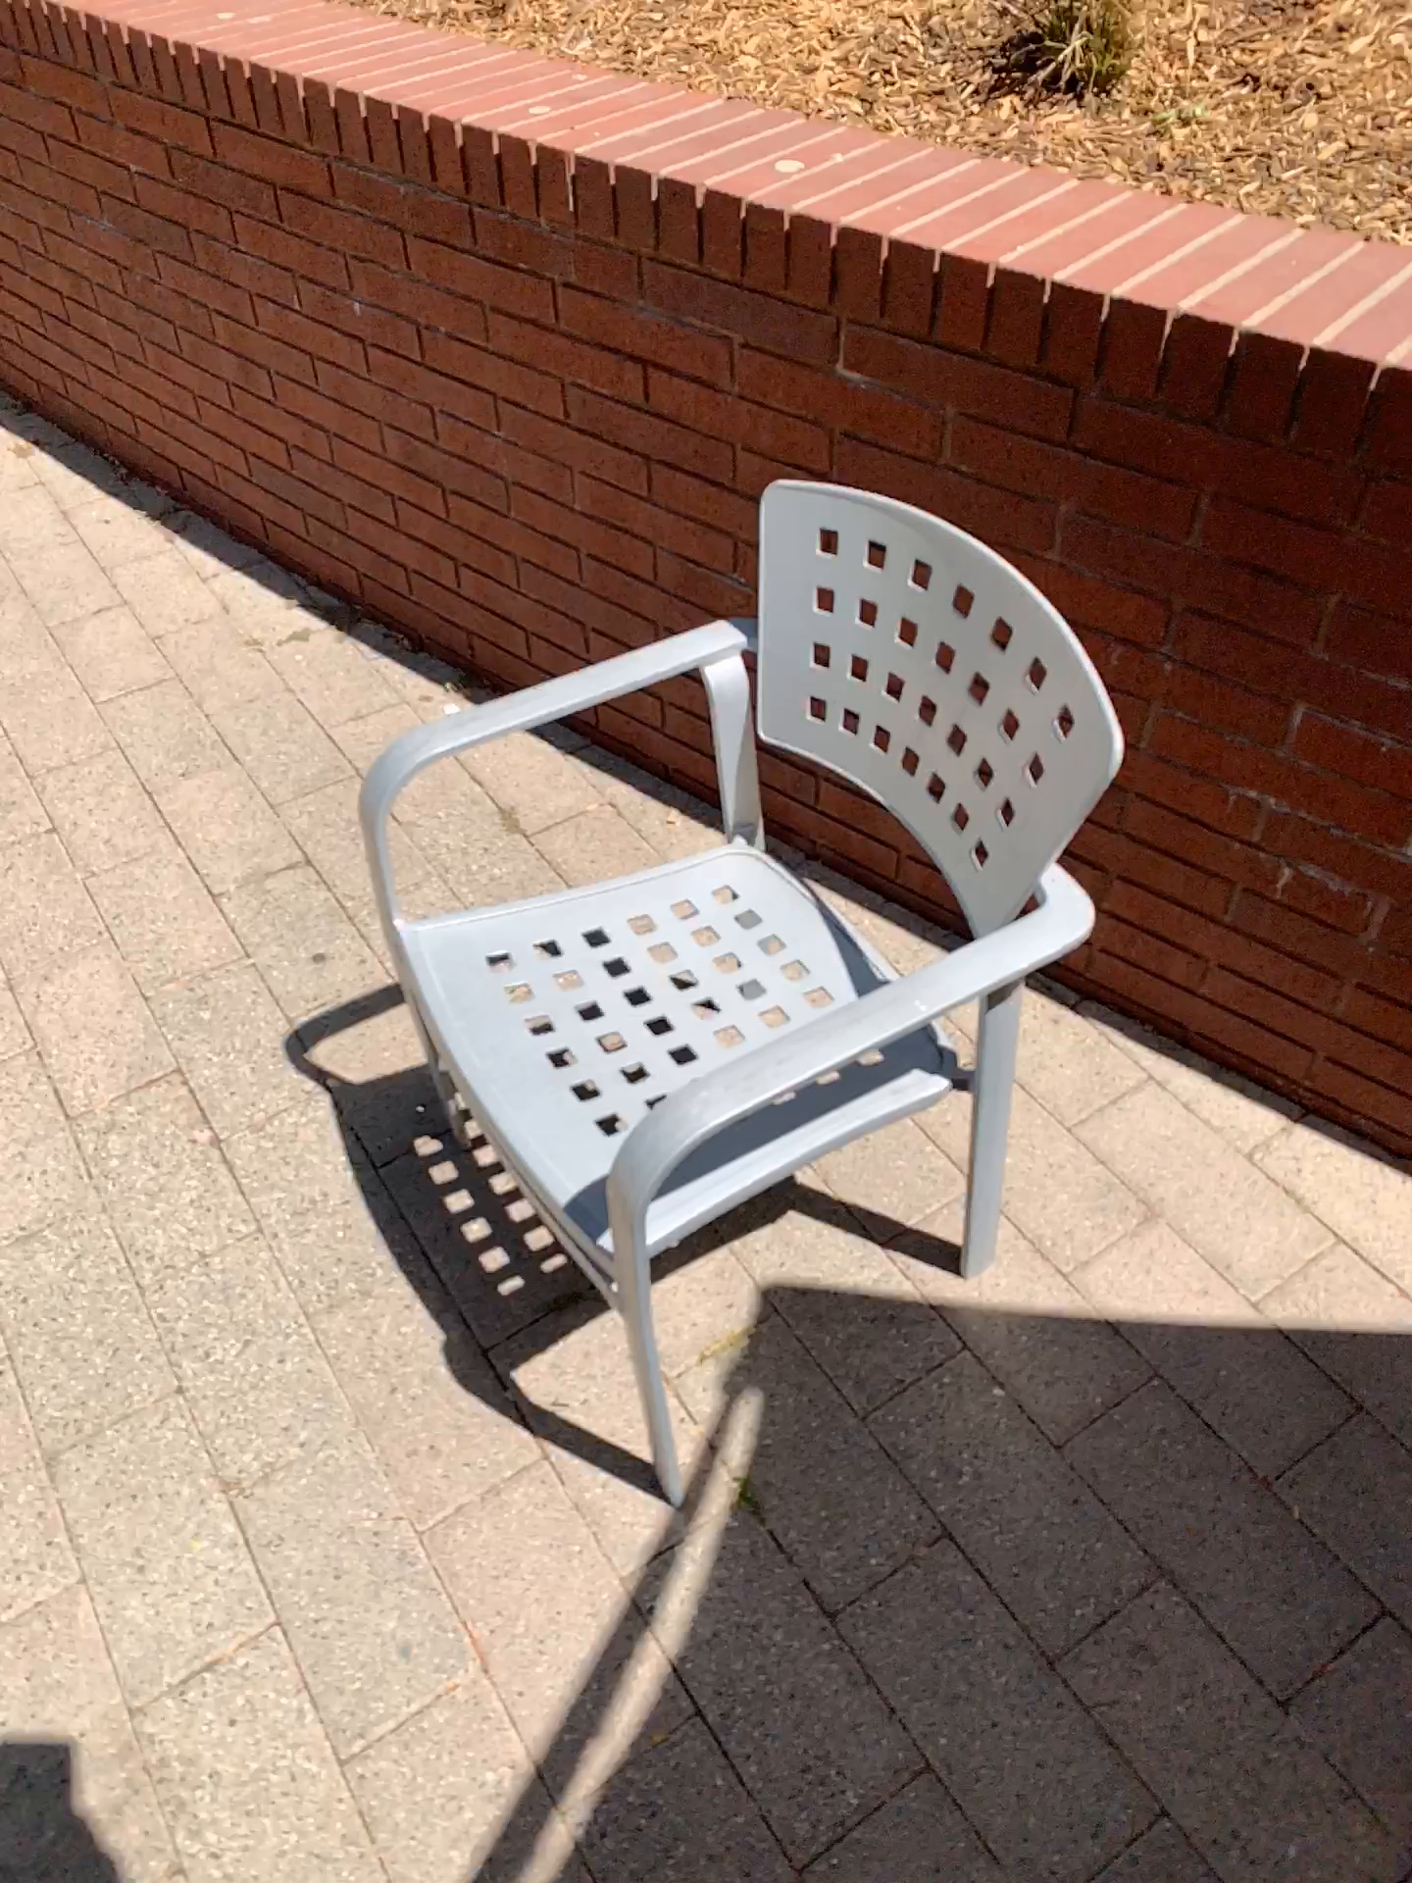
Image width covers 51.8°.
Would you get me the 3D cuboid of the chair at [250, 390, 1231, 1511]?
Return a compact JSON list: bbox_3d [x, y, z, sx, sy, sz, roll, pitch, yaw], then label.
[{"bbox_3d":[0.004,0.001,1.325,0.498,0.698,0.564,-25,49,-22],"label":"chair"}]
